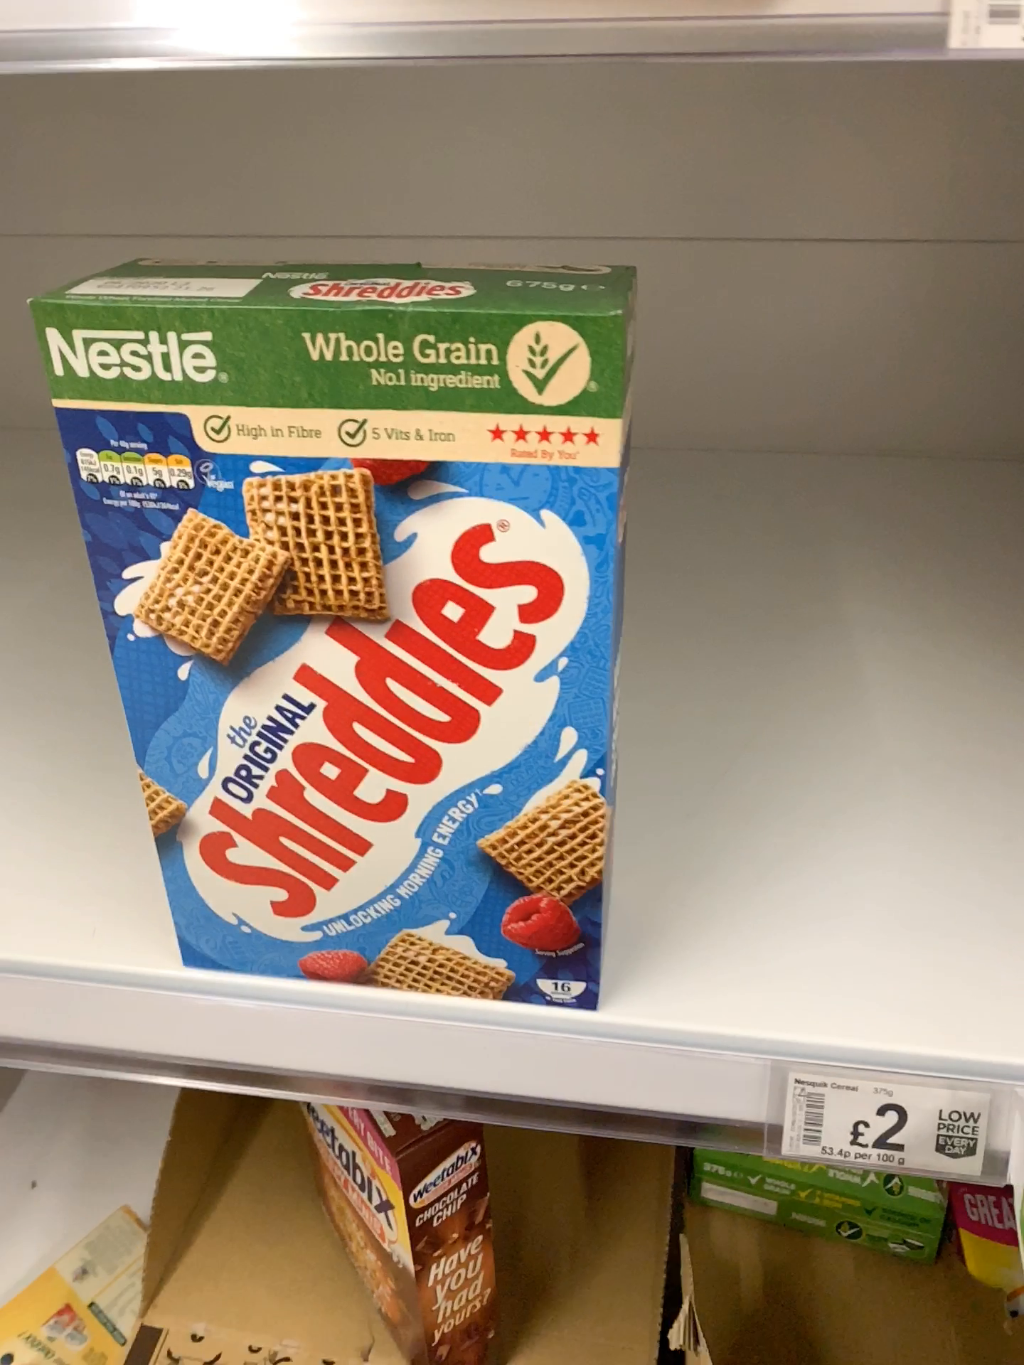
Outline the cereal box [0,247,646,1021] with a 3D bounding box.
[{"bbox_3d":[-0.057,-0.010,0.414,0.200,0.287,0.081,4,31,9],"label":"cereal box"}]
